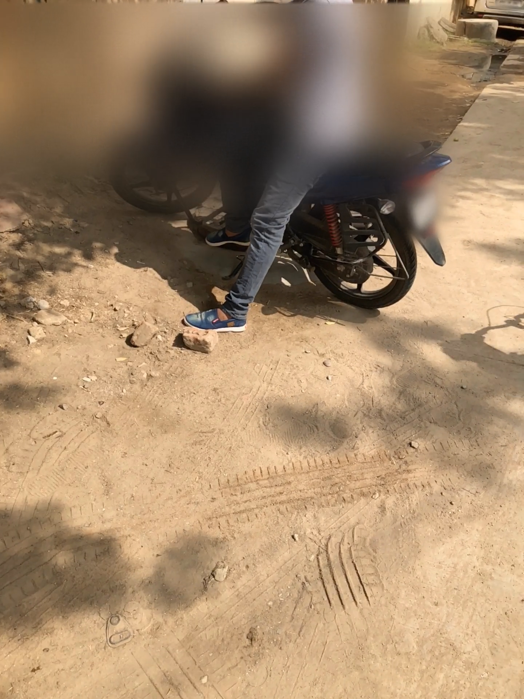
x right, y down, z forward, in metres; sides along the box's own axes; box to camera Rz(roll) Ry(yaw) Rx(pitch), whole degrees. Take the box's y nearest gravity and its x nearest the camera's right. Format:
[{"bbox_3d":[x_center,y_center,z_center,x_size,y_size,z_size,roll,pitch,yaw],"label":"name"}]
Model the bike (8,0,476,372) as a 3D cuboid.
[{"bbox_3d":[-0.145,-0.914,2.690,1.785,1.241,0.743,23,39,27],"label":"bike"}]
